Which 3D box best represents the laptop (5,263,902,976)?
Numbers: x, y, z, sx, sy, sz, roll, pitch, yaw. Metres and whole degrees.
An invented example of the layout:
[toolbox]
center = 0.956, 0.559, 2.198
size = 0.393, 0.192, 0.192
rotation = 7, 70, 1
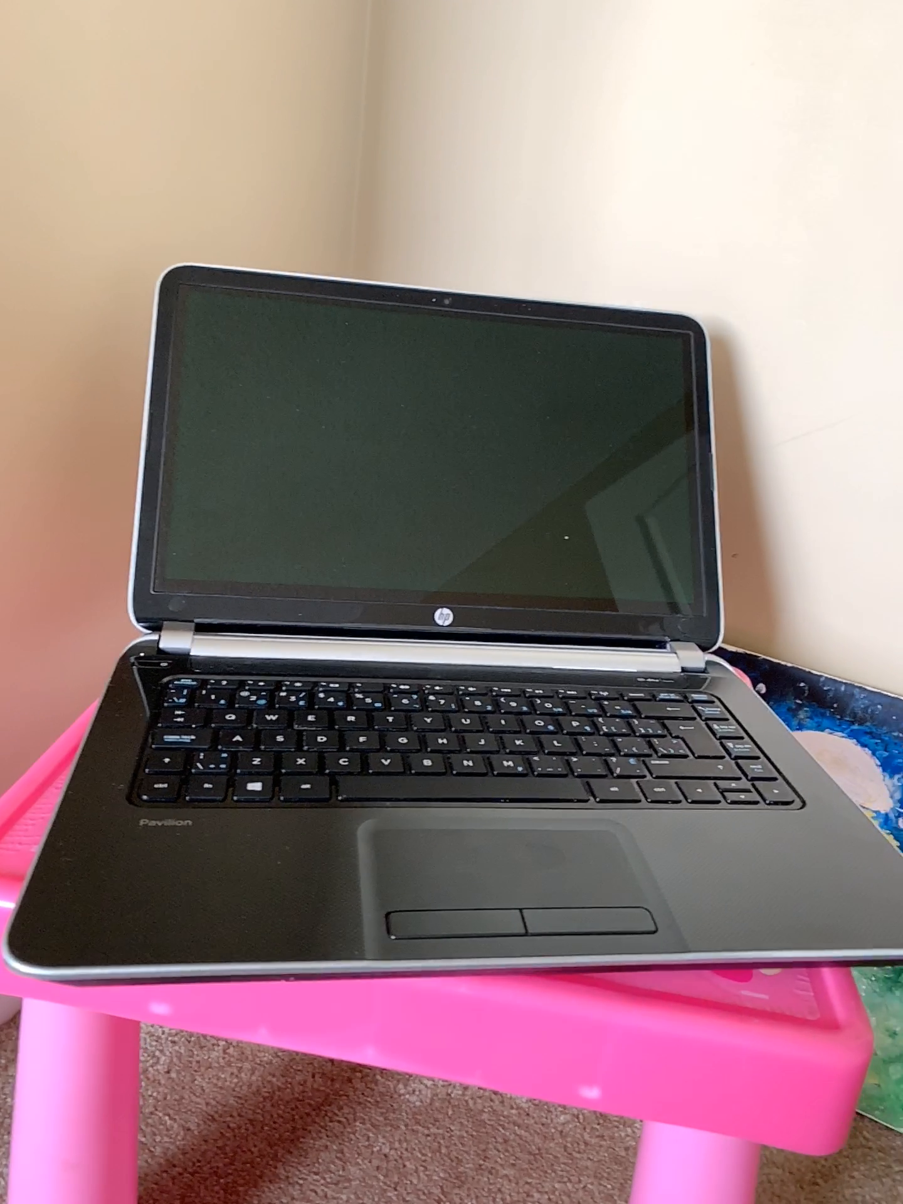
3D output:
[laptop]
center = 0.013, -0.024, 0.371
size = 0.274, 0.161, 0.272
rotation = 2, 24, -10
